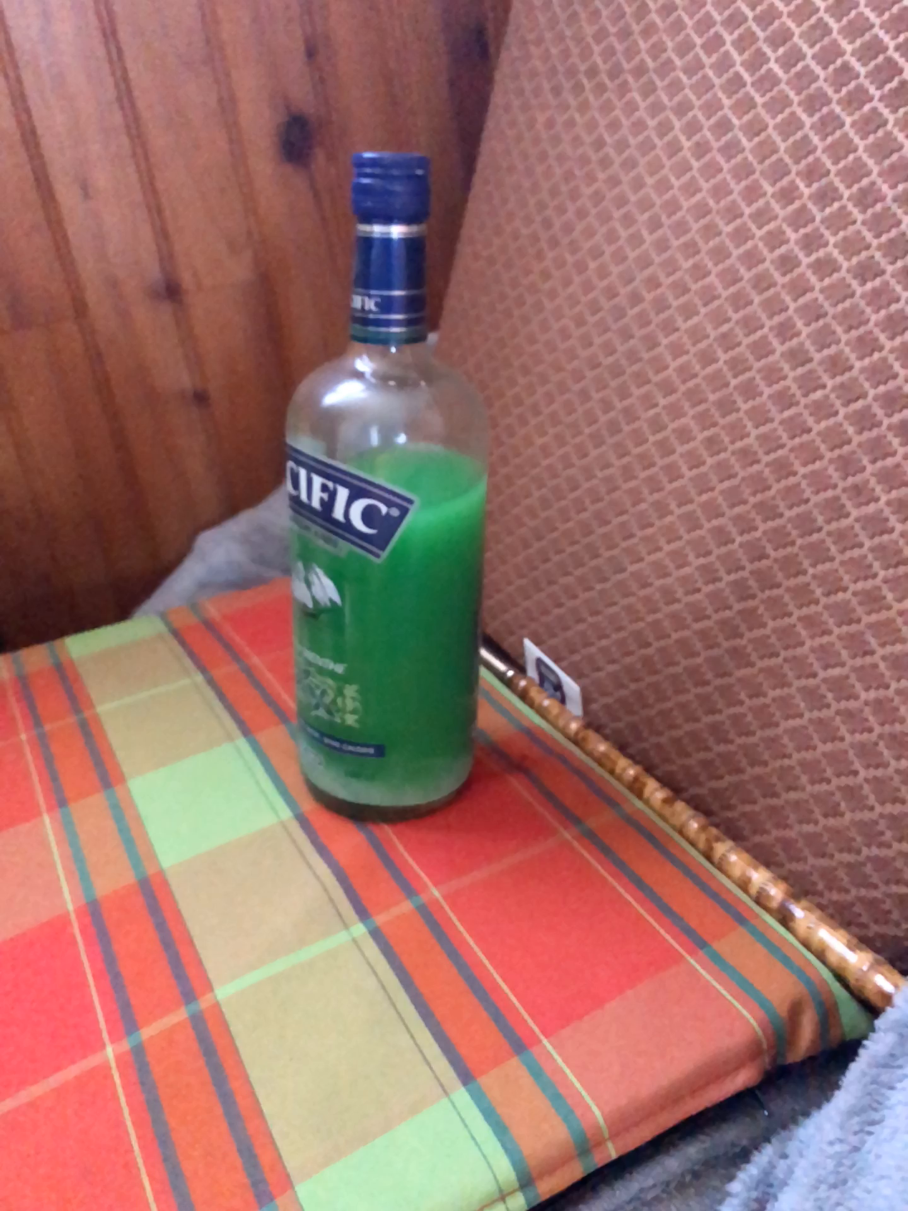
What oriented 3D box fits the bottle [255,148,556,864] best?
[{"bbox_3d":[-0.025,-0.043,0.448,0.080,0.289,0.090,-15,27,-35],"label":"bottle"}]
